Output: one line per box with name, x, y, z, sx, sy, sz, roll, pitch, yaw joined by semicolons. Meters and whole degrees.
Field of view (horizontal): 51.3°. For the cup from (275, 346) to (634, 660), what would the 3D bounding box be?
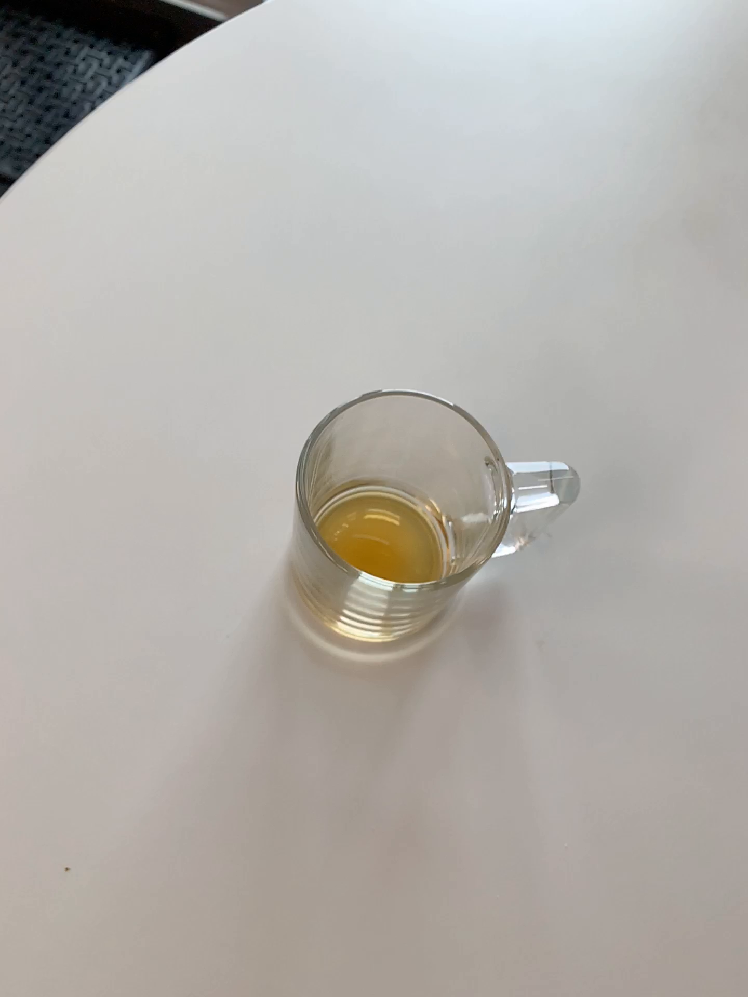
cup;0.017;0.006;0.278;0.101;0.091;0.082;-2;70;-8
